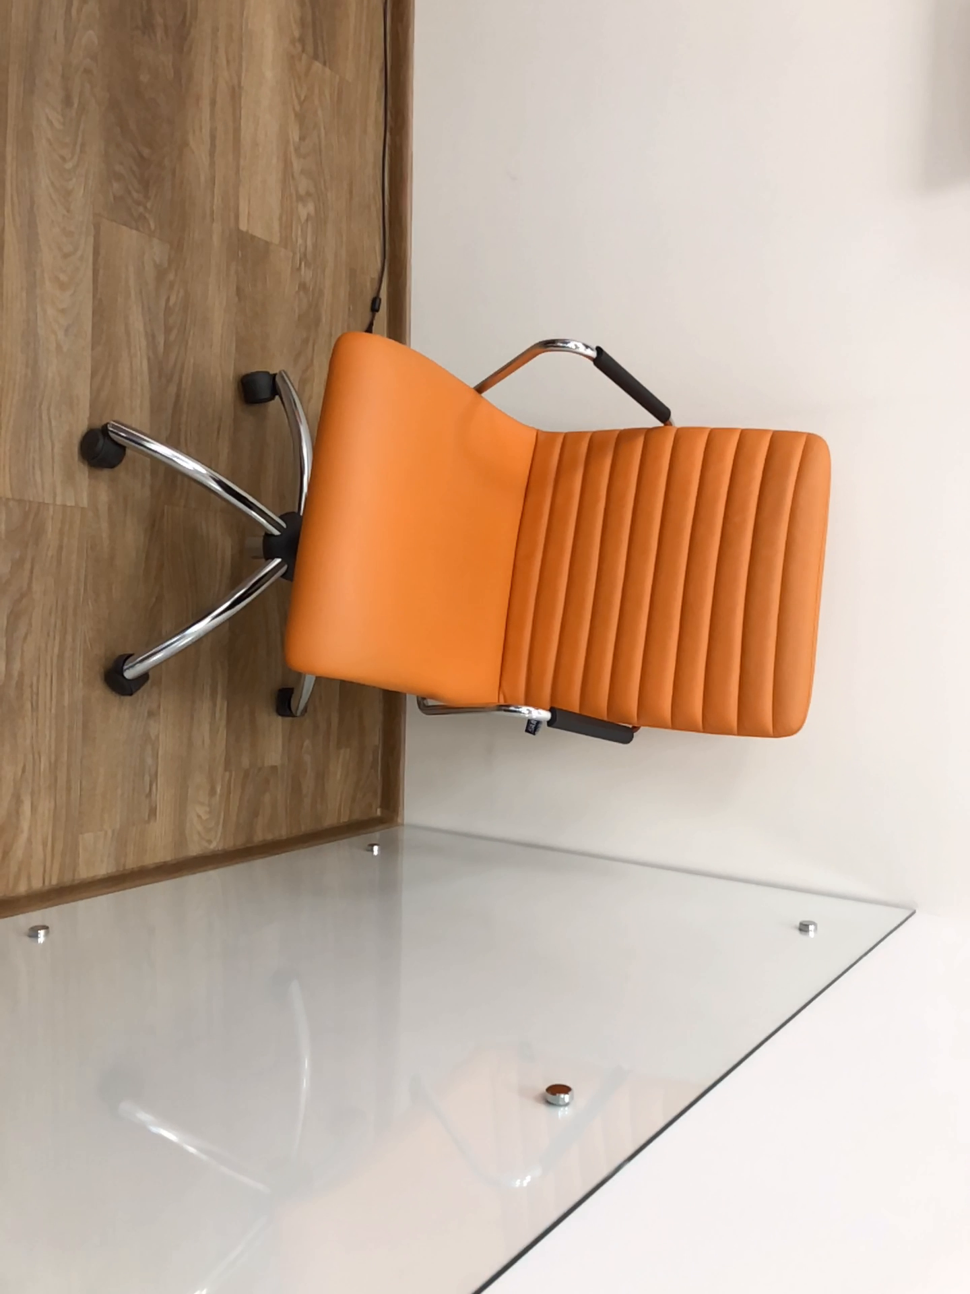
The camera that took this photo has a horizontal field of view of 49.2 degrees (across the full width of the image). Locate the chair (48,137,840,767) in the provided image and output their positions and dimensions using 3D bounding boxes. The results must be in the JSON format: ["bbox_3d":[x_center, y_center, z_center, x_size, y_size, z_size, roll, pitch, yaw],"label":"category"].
[{"bbox_3d":[-0.046,-0.176,1.558,0.664,0.895,0.620,10,83,-55],"label":"chair"}]
